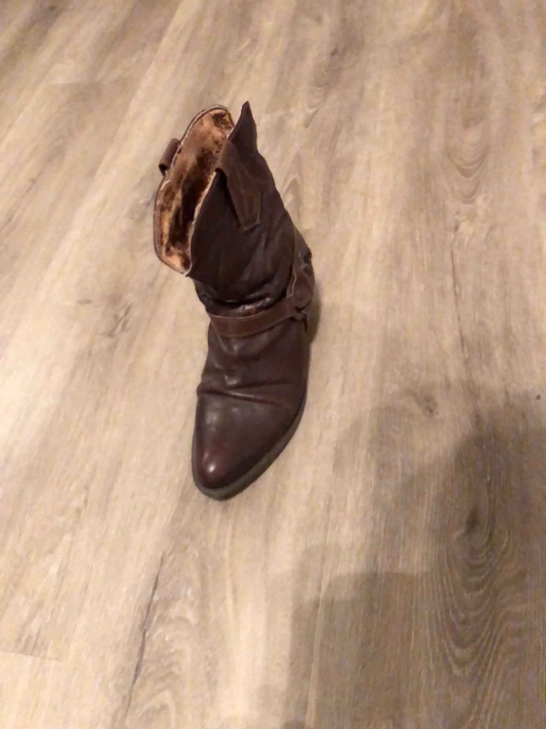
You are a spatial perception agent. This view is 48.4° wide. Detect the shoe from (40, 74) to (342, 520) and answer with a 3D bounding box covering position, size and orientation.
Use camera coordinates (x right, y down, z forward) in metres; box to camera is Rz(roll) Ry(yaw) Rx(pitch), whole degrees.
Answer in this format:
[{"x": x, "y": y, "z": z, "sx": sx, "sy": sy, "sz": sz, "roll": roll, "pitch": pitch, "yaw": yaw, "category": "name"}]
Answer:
[{"x": -0.027, "y": -0.047, "z": 0.450, "sx": 0.100, "sy": 0.209, "sz": 0.241, "roll": 5, "pitch": 55, "yaw": 16, "category": "shoe"}]
